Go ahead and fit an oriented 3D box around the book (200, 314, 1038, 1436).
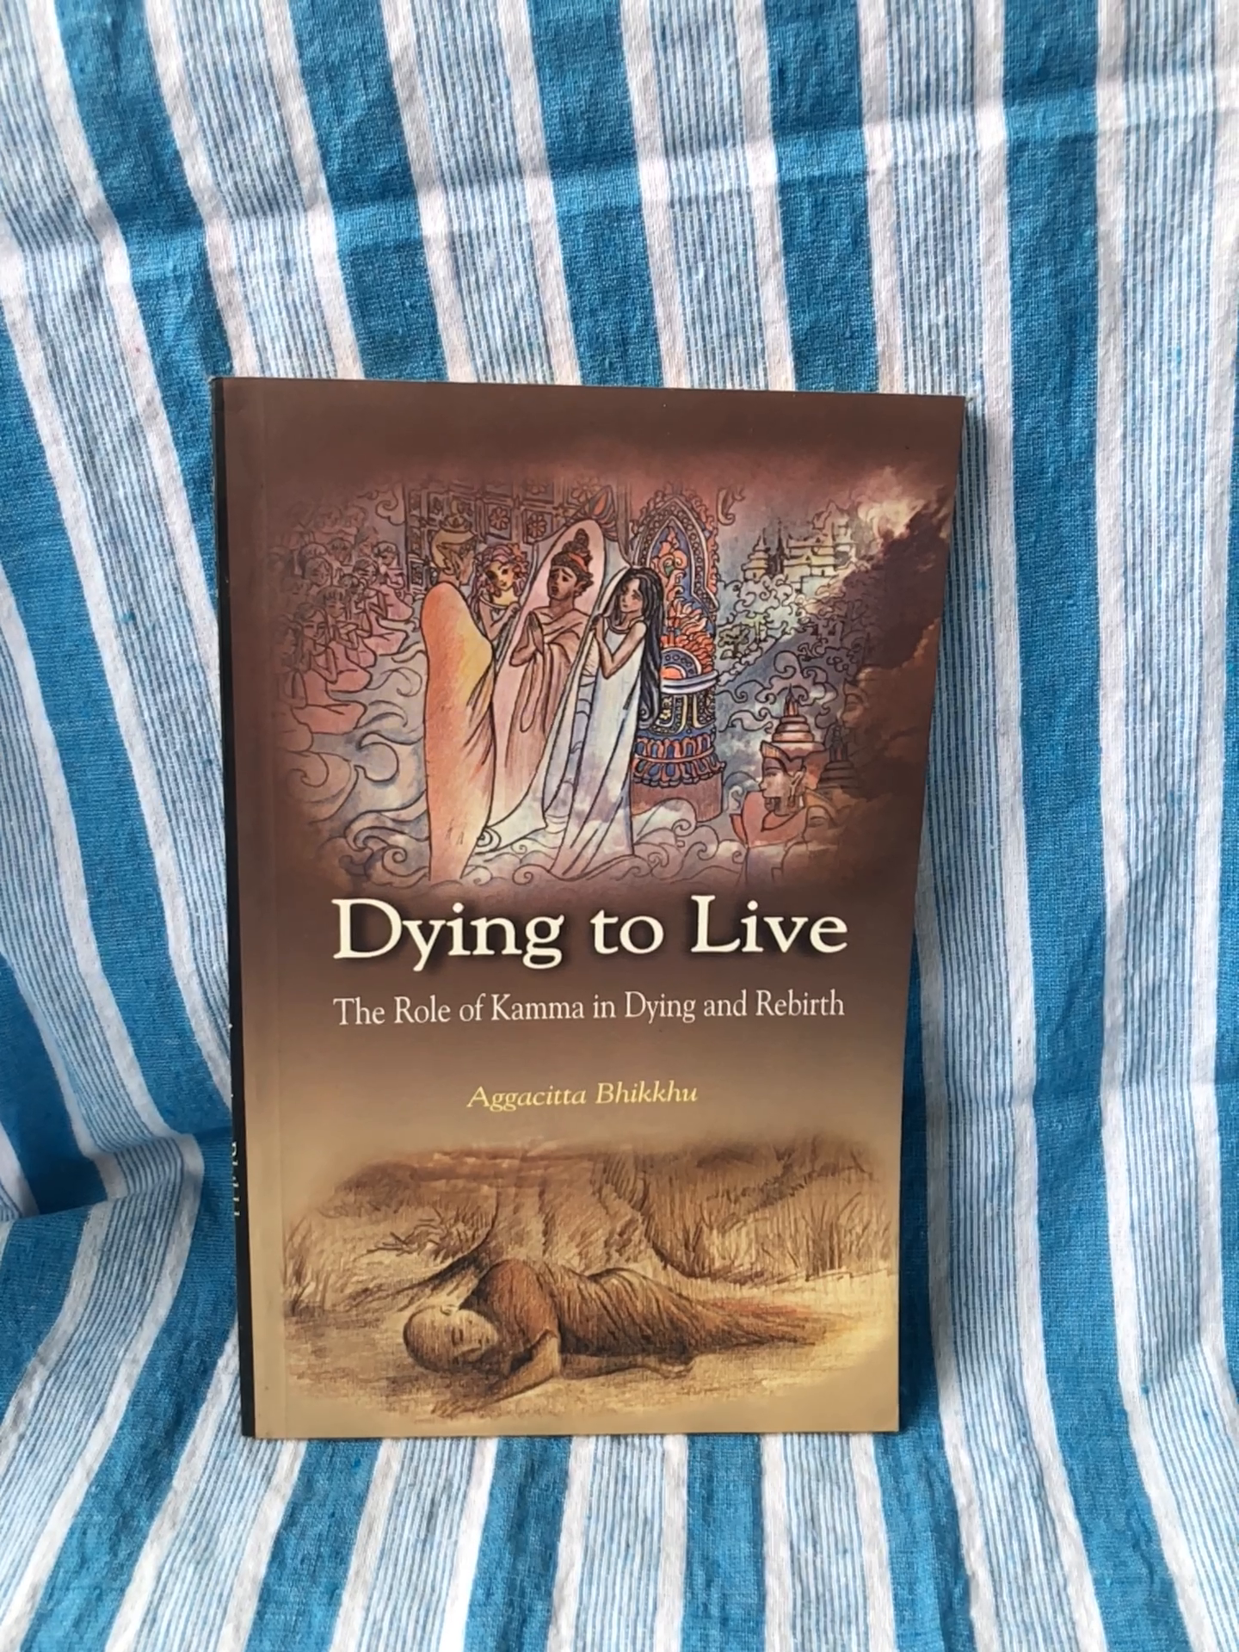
[{"bbox_3d":[-0.002,0.015,0.273,0.150,0.210,0.020,2,6,-6],"label":"book"}]
